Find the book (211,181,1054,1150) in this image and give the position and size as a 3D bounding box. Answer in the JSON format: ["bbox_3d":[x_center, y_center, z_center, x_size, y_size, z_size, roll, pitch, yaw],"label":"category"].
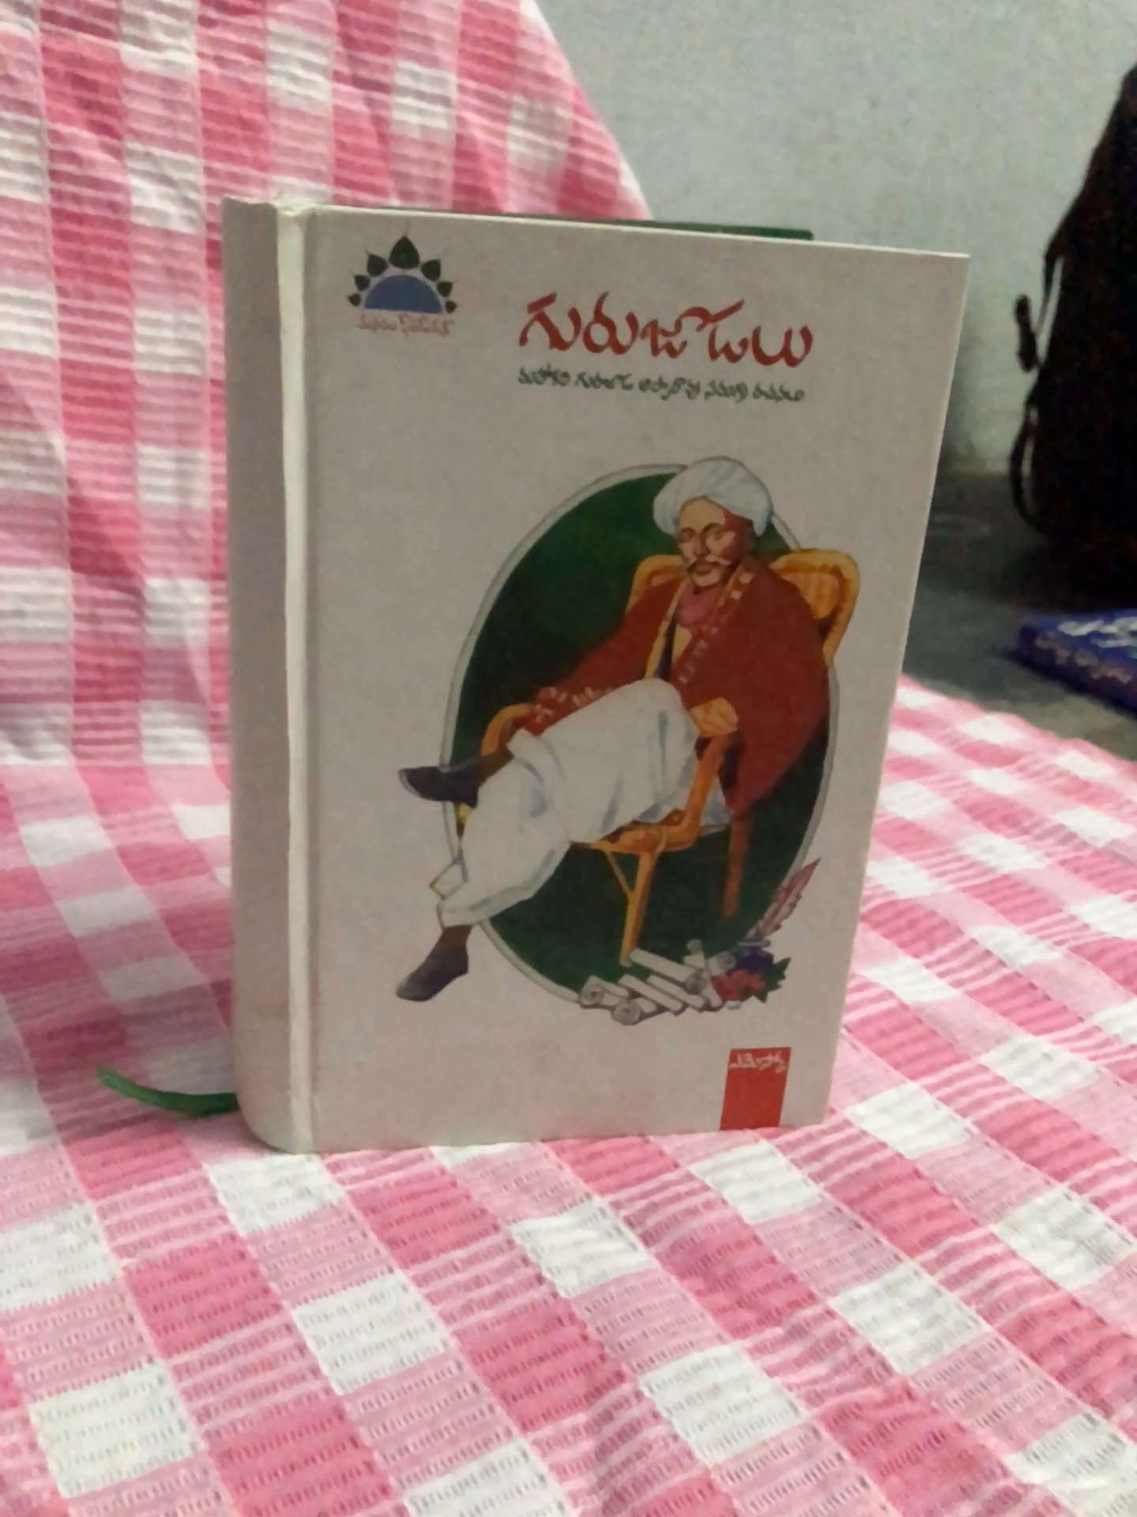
[{"bbox_3d":[0.002,-0.017,0.306,0.160,0.209,0.070,0,24,-12],"label":"book"}]
